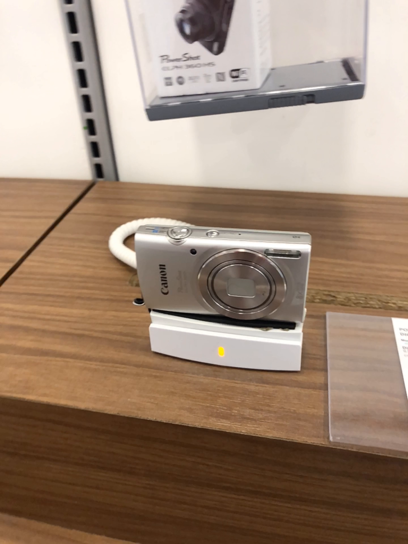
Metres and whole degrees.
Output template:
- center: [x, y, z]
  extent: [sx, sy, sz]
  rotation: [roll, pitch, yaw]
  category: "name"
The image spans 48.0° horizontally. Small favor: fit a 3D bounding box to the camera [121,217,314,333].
- center: [0.009, 0.002, 0.261]
  extent: [0.100, 0.060, 0.020]
  rotation: [4, 40, 12]
  category: "camera"
